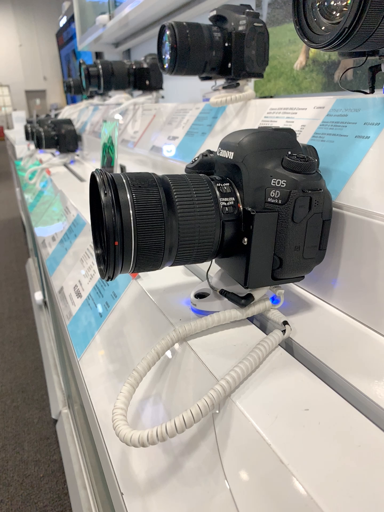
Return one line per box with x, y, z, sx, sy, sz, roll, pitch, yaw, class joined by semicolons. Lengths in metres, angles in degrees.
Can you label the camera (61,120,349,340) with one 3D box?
0.002;-0.041;0.325;0.180;0.124;0.137;-11;21;-20;camera
